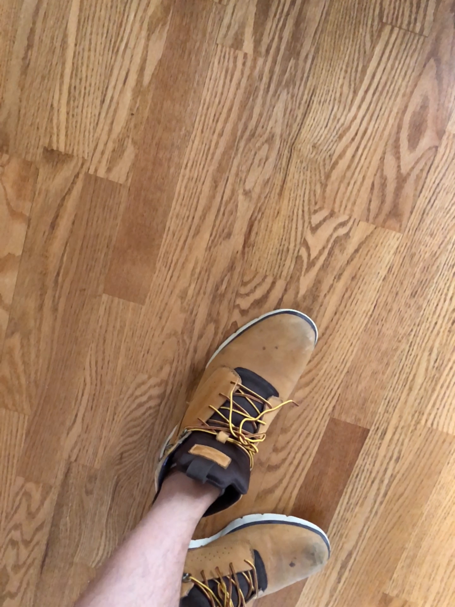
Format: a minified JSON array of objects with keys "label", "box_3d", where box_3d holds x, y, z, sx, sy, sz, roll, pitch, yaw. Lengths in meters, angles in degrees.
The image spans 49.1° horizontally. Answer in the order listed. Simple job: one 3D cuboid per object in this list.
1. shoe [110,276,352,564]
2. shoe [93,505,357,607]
[{"label":"shoe","box_3d":[0.002,0.137,0.652,0.130,0.140,0.320,33,94,-3]},{"label":"shoe","box_3d":[0.008,0.393,0.676,0.300,0.170,0.130,-12,100,18]}]
